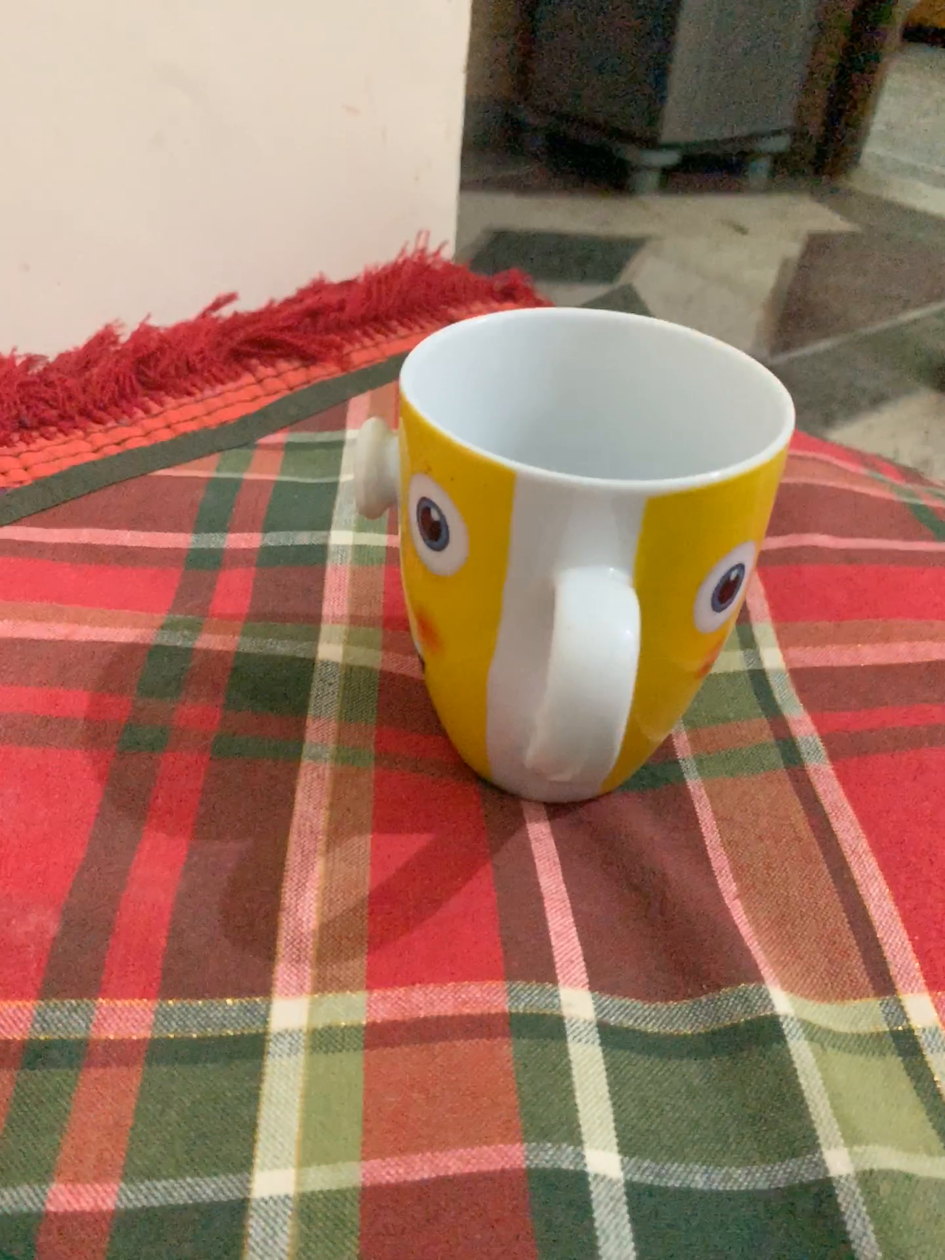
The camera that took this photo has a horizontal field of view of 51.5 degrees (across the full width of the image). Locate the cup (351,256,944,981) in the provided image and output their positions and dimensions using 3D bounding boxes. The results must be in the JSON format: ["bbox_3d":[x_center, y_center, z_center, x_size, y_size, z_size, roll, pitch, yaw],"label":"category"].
[{"bbox_3d":[0.026,-0.011,0.197,0.080,0.080,0.120,7,39,1],"label":"cup"}]
